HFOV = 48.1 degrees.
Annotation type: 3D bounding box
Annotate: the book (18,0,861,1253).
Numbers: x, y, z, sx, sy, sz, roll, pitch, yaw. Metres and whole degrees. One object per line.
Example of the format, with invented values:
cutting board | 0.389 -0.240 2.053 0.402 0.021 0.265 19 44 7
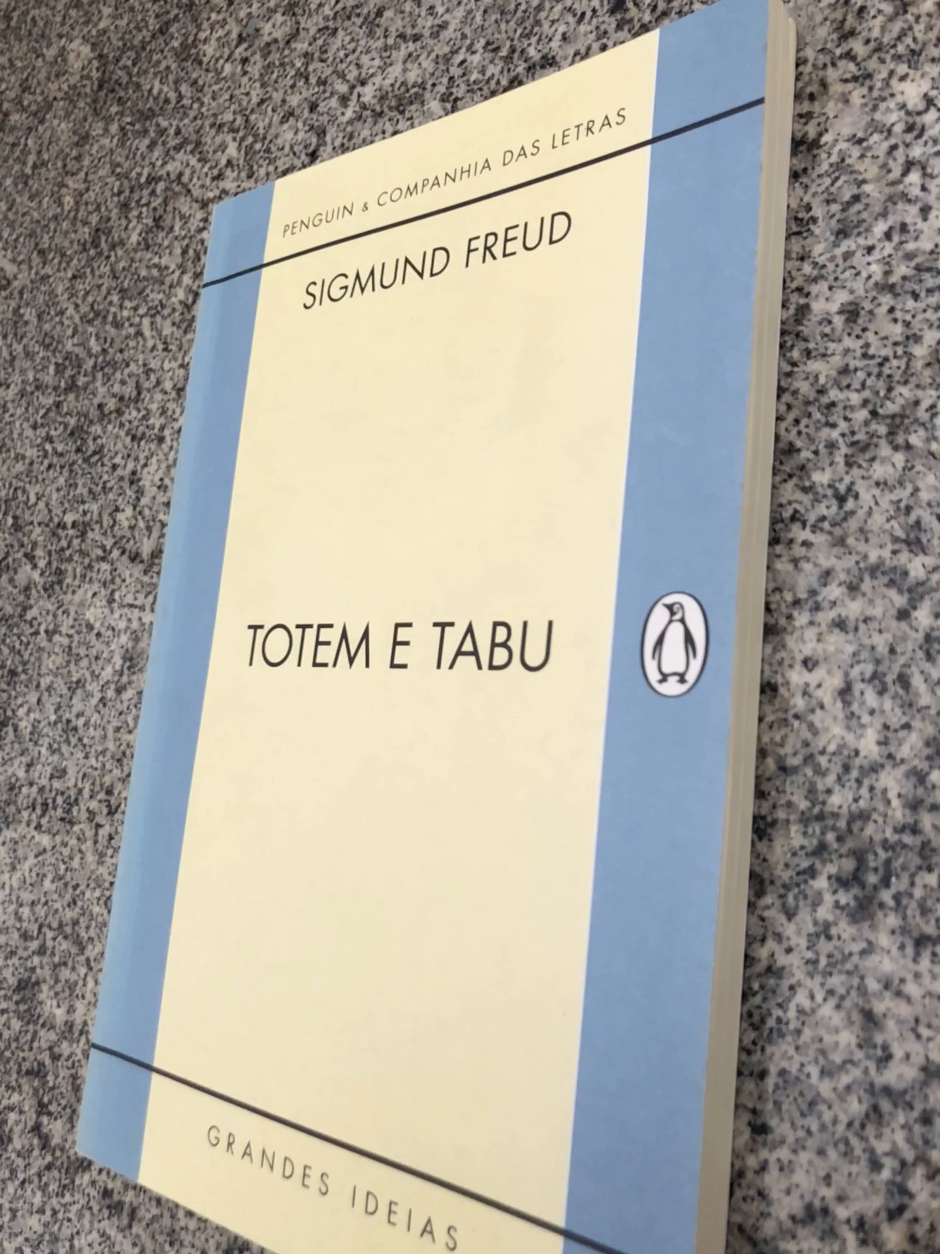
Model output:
book | -0.012 0.007 0.166 0.130 0.015 0.191 0 79 37
